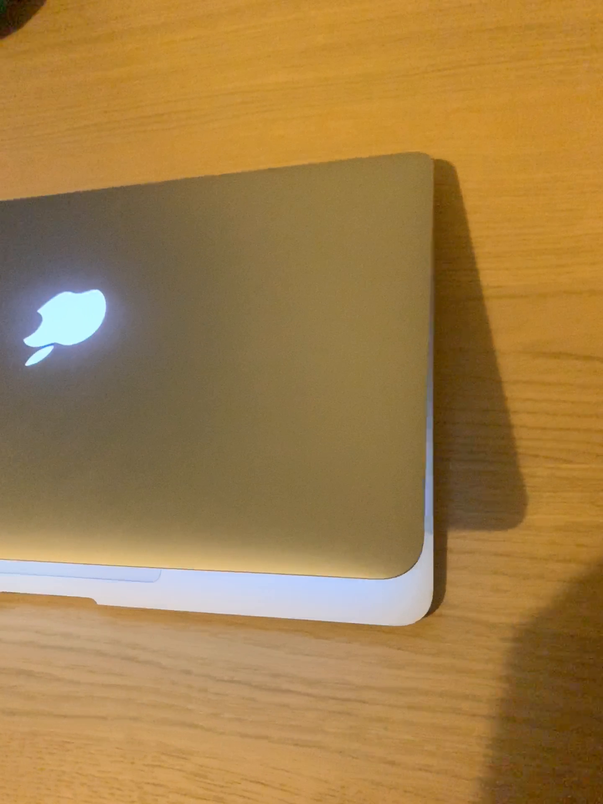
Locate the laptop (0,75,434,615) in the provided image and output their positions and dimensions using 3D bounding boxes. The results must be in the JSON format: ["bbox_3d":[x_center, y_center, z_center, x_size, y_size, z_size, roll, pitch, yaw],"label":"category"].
[{"bbox_3d":[-0.105,-0.030,0.289,0.320,0.048,0.218,-1,63,16],"label":"laptop"}]
